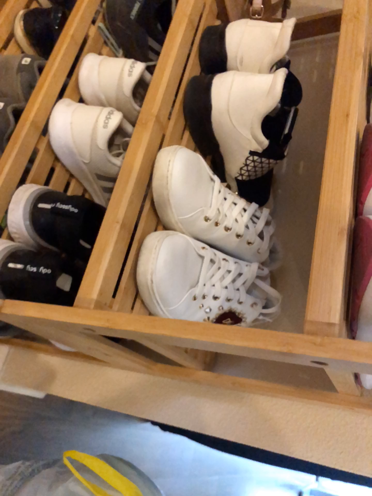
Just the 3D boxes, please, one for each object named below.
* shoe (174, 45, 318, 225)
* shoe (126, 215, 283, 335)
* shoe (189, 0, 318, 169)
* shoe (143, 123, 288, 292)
[{"bbox_3d":[0.090,-0.125,0.530,0.211,0.113,0.090,53,46,-50],"label":"shoe"},{"bbox_3d":[0.042,0.045,0.504,0.262,0.080,0.100,25,69,-60],"label":"shoe"},{"bbox_3d":[0.106,-0.218,0.581,0.211,0.113,0.090,53,46,-50],"label":"shoe"},{"bbox_3d":[0.053,-0.029,0.492,0.252,0.070,0.090,41,56,-56],"label":"shoe"}]
